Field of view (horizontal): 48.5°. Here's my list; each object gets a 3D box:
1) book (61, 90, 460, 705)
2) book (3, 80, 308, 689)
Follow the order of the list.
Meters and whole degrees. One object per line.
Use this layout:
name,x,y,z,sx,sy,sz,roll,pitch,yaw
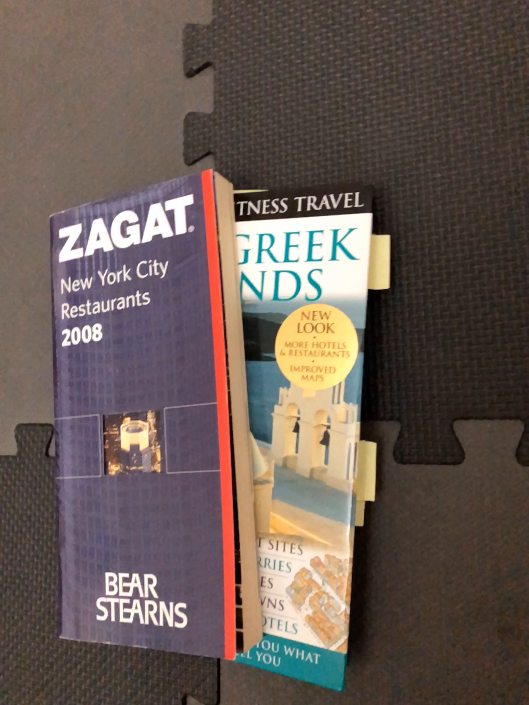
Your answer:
book,-0.007,0.024,0.273,0.170,0.030,0.260,2,86,25
book,-0.062,0.014,0.280,0.150,0.020,0.250,-7,82,24
